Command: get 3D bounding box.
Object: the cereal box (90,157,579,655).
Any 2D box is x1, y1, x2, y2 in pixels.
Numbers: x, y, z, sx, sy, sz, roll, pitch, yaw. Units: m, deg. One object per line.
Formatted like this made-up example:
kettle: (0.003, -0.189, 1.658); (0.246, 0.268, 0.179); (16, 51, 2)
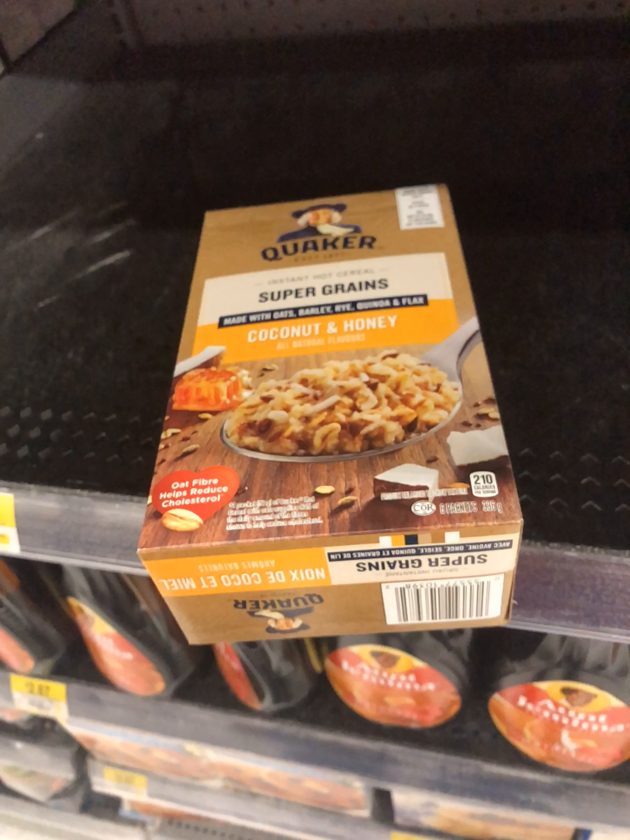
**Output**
cereal box: (0.010, -0.024, 0.305); (0.140, 0.060, 0.231); (-4, 45, 6)
